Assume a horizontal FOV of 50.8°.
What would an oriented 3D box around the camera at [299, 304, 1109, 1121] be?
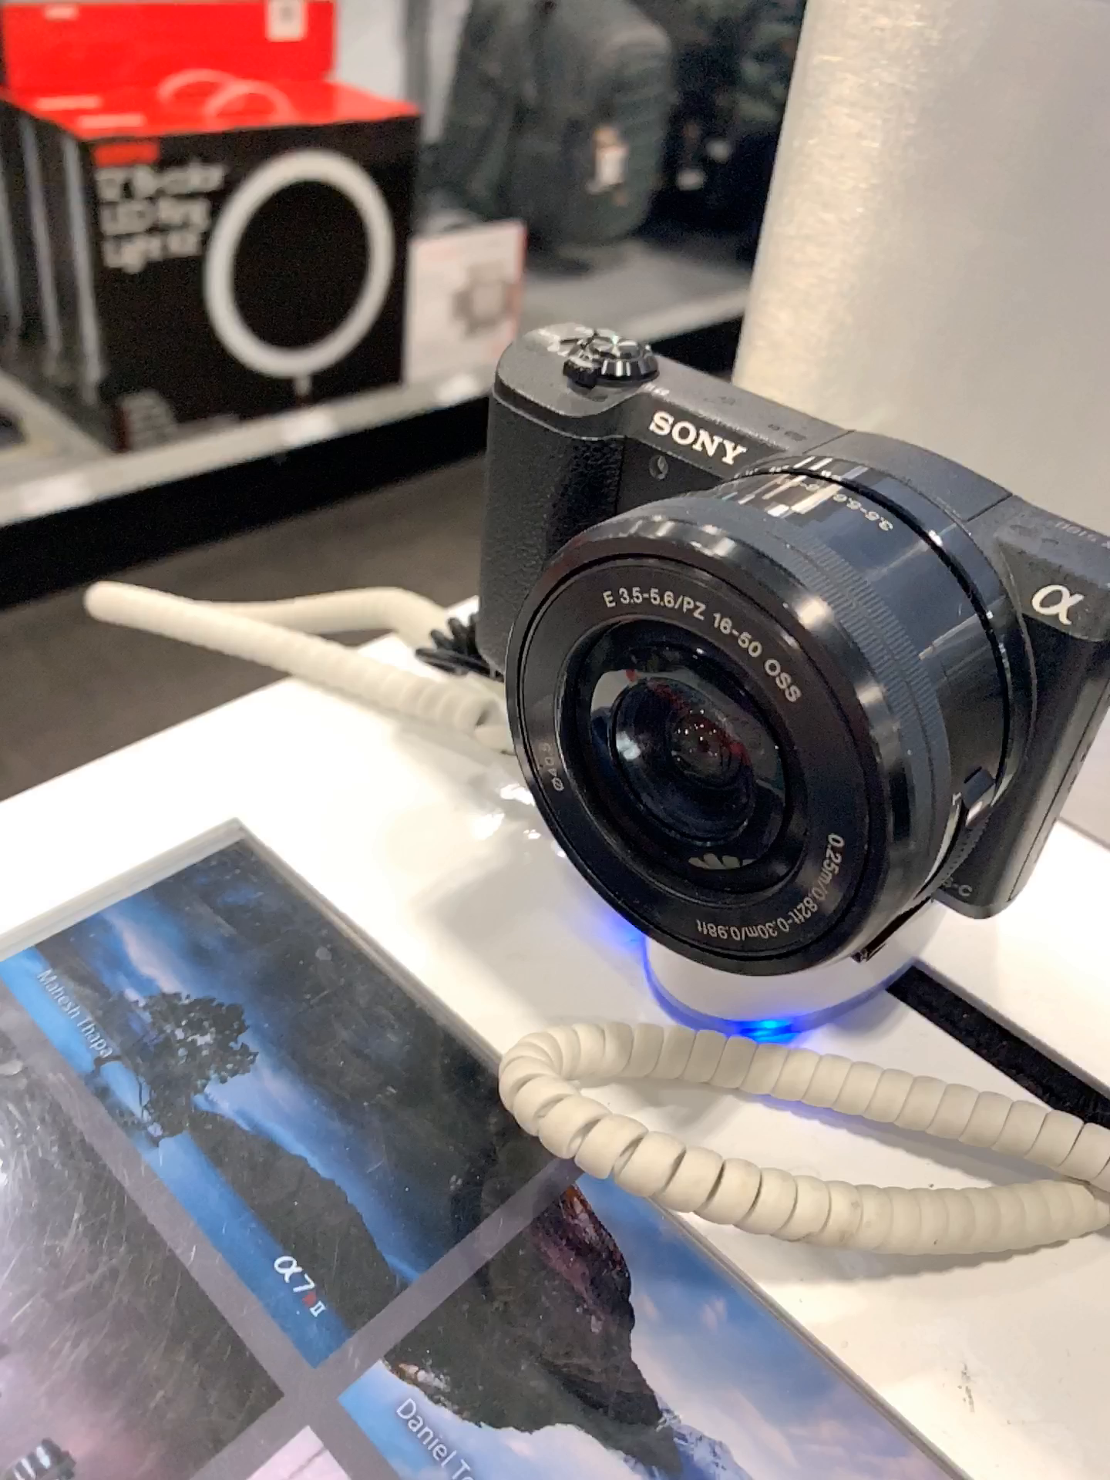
[{"bbox_3d":[0.024,-0.014,0.182,0.113,0.060,0.066,33,46,28],"label":"camera"}]
